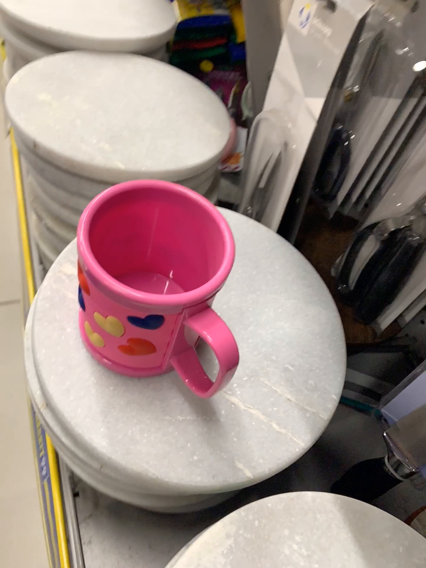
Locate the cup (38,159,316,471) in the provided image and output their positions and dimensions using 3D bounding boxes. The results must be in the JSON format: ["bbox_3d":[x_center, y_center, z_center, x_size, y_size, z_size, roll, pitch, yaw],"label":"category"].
[{"bbox_3d":[-0.029,0.015,0.247,0.080,0.100,0.120,-25,62,-30],"label":"cup"}]
